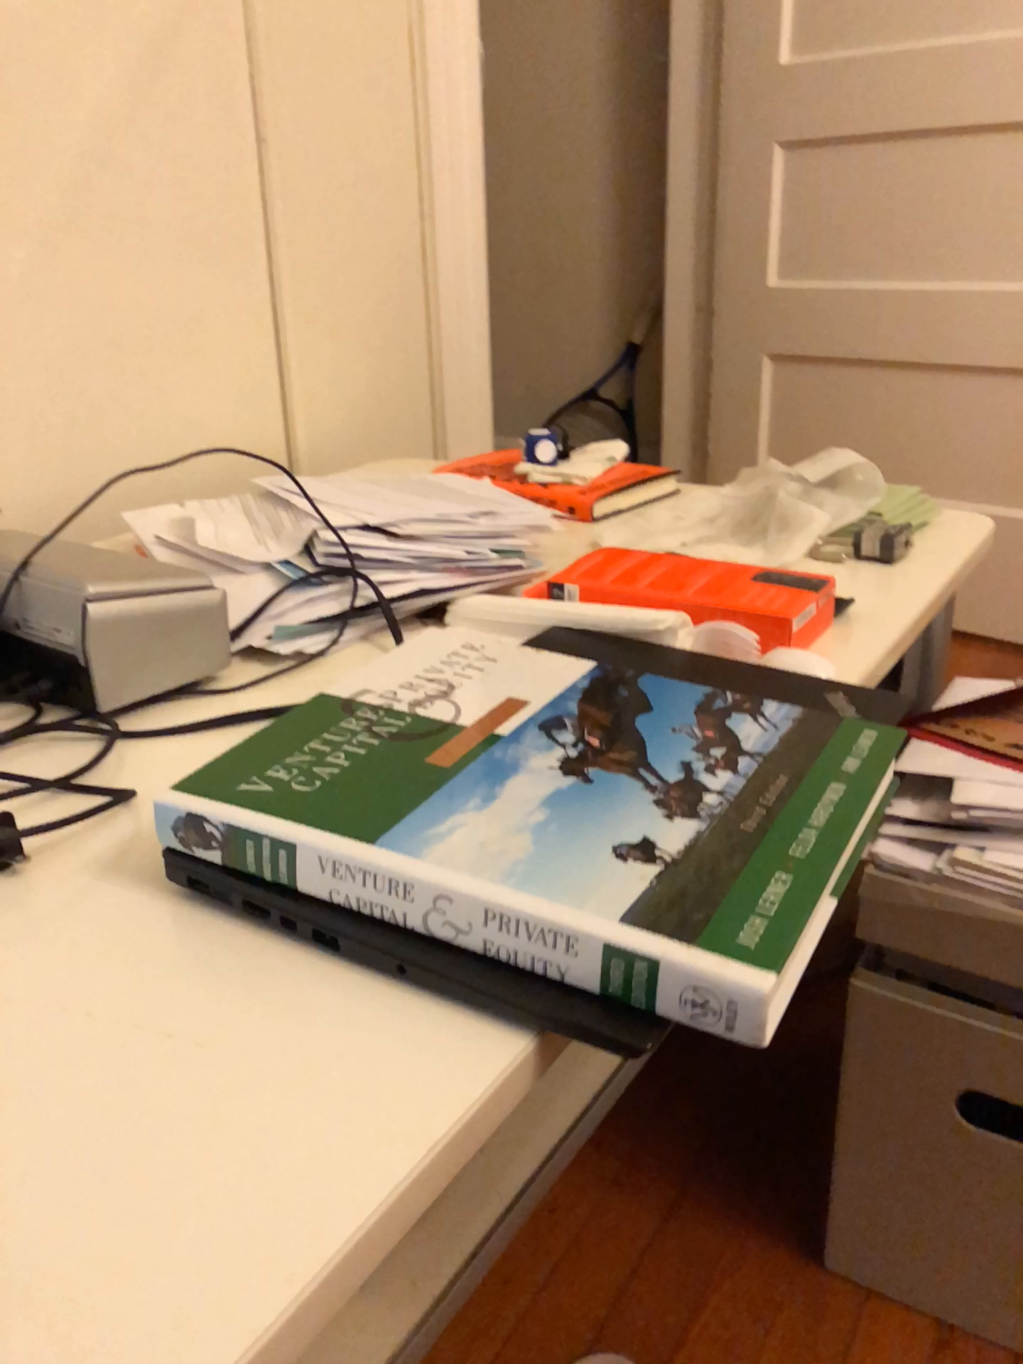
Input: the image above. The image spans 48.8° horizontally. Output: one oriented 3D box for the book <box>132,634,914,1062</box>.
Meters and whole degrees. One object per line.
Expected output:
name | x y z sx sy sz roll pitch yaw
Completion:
book | 0.016 0.046 0.498 0.270 0.030 0.221 11 24 26
